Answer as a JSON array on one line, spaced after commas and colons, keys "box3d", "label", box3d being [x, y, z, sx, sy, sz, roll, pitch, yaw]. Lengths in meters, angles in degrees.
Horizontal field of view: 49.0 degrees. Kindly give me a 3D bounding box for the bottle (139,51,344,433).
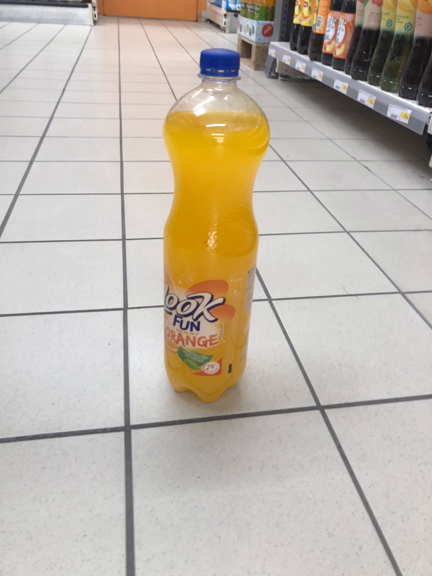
[{"box3d": [0.012, -0.034, 0.416, 0.110, 0.298, 0.101, 3, 31, -2], "label": "bottle"}]
